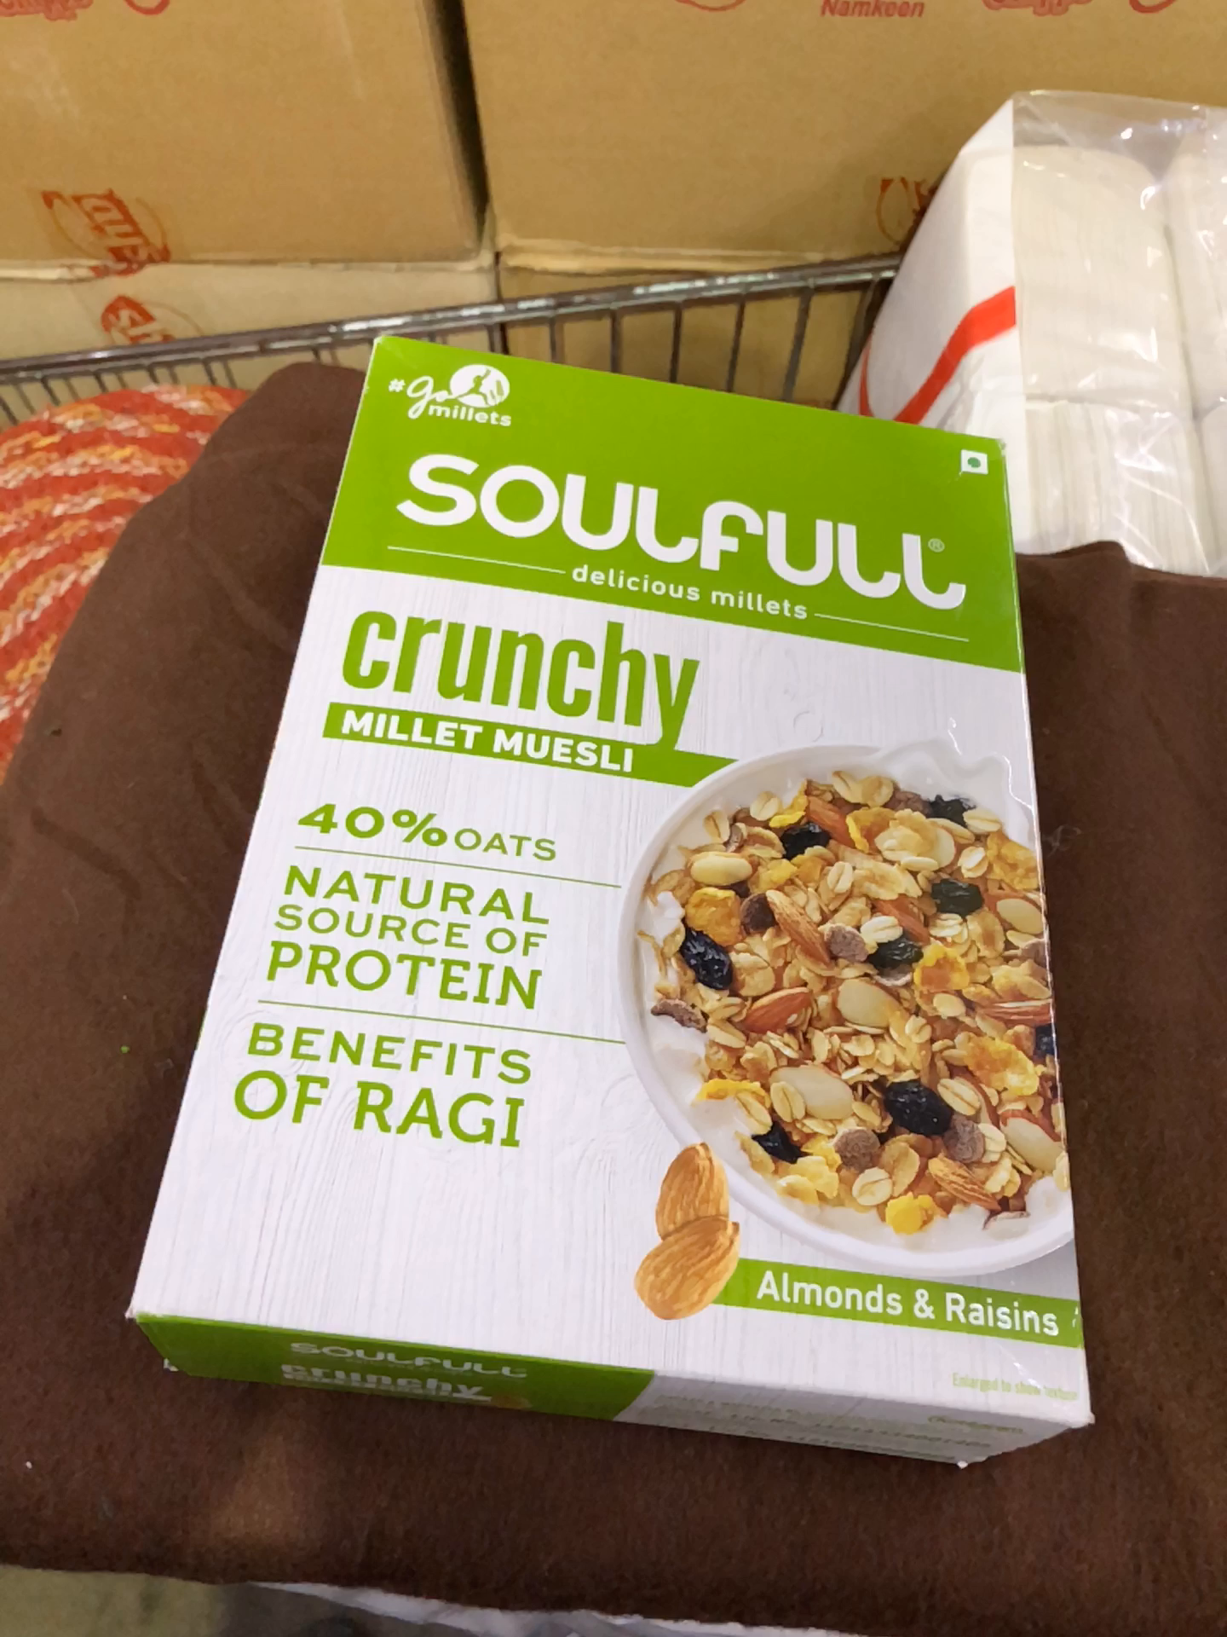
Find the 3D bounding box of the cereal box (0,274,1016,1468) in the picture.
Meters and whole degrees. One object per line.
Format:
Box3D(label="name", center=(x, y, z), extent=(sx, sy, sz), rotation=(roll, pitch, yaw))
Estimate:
Box3D(label="cereal box", center=(-0.010, -0.005, 0.294), extent=(0.160, 0.060, 0.241), rotation=(8, 57, -2))
